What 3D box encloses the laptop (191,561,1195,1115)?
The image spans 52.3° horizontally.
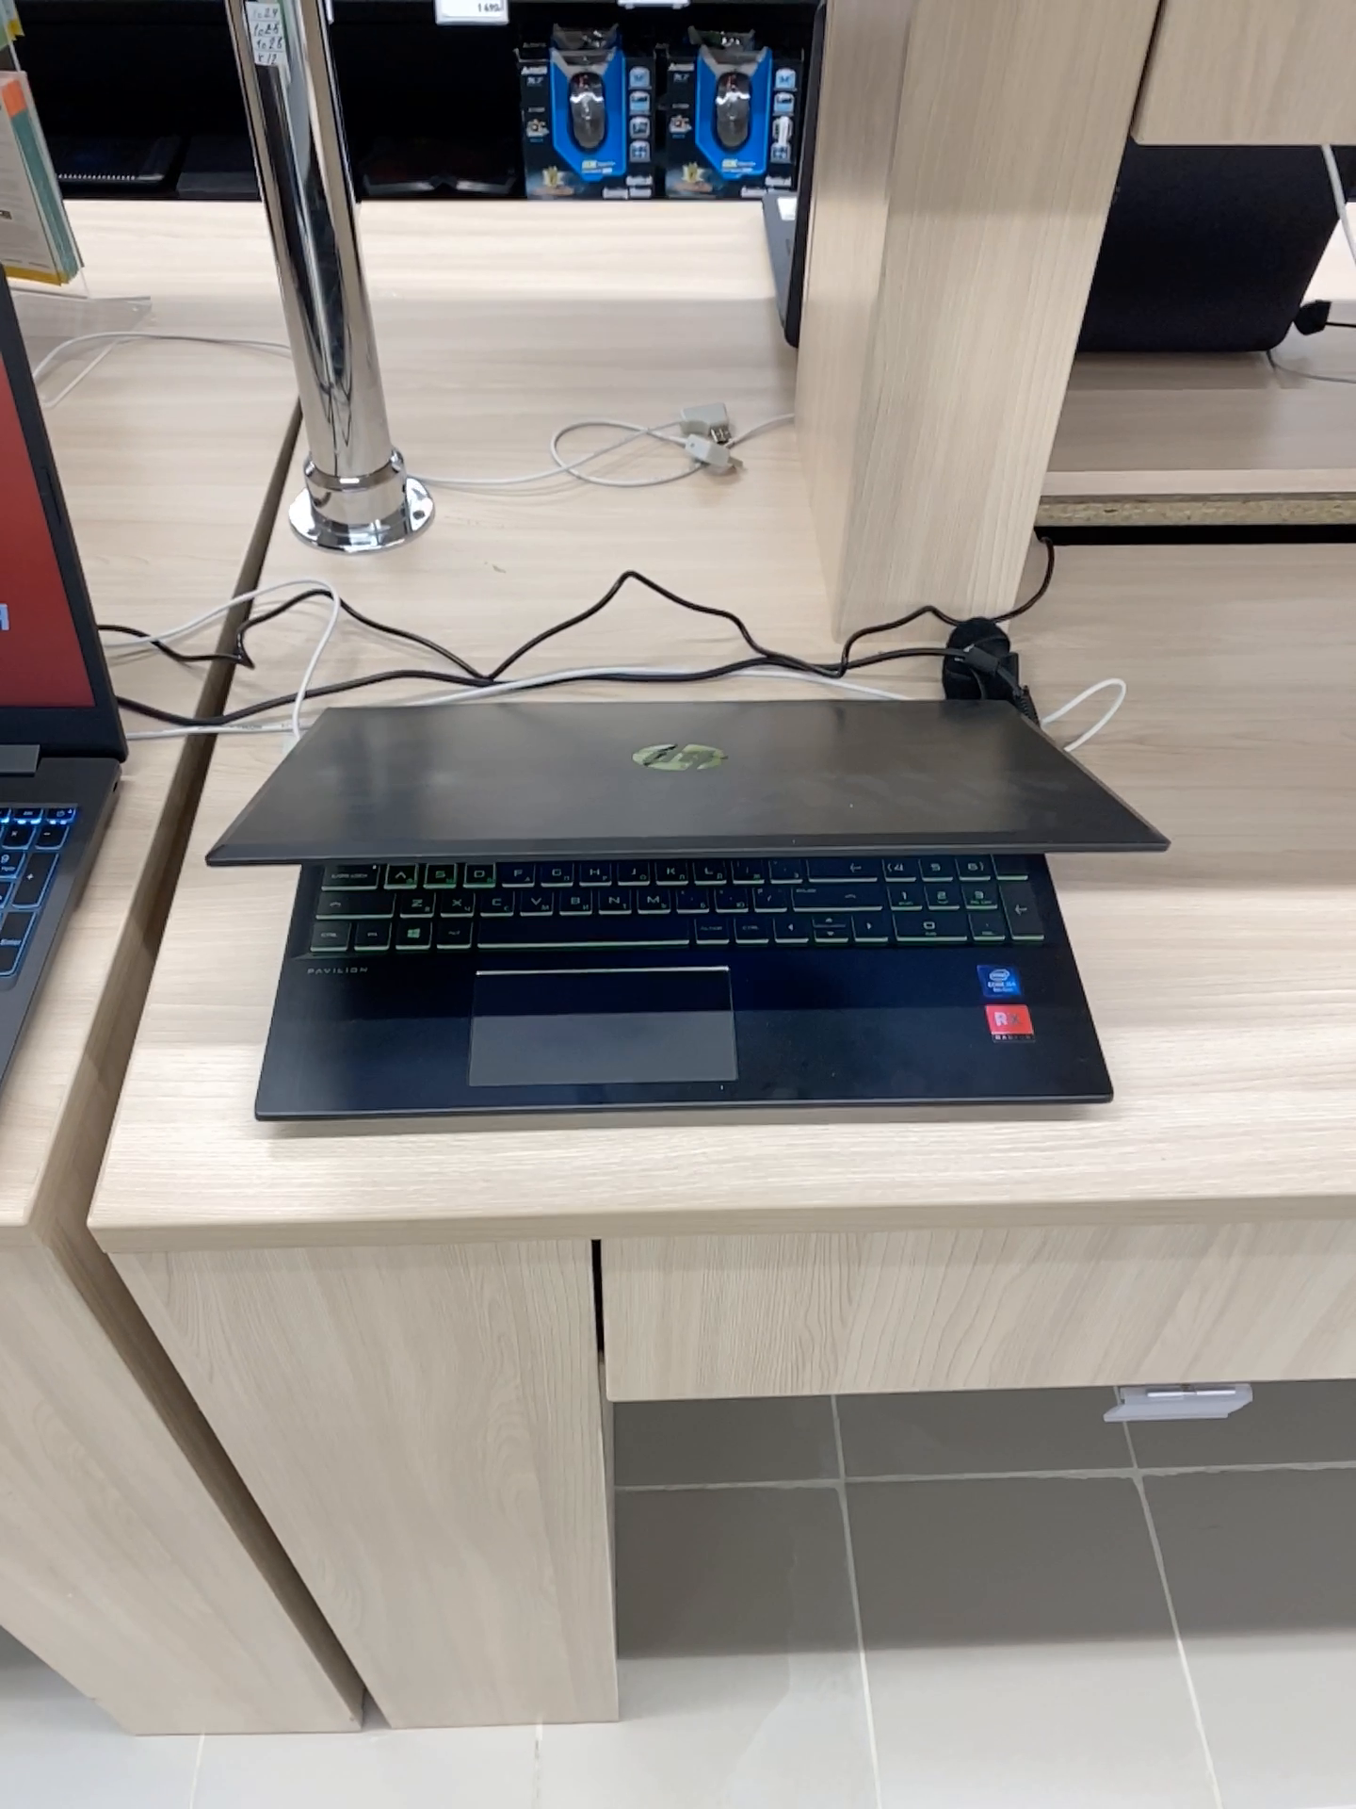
[{"bbox_3d":[0.001,-0.039,0.618,0.364,0.108,0.236,-1,48,-2],"label":"laptop"}]
